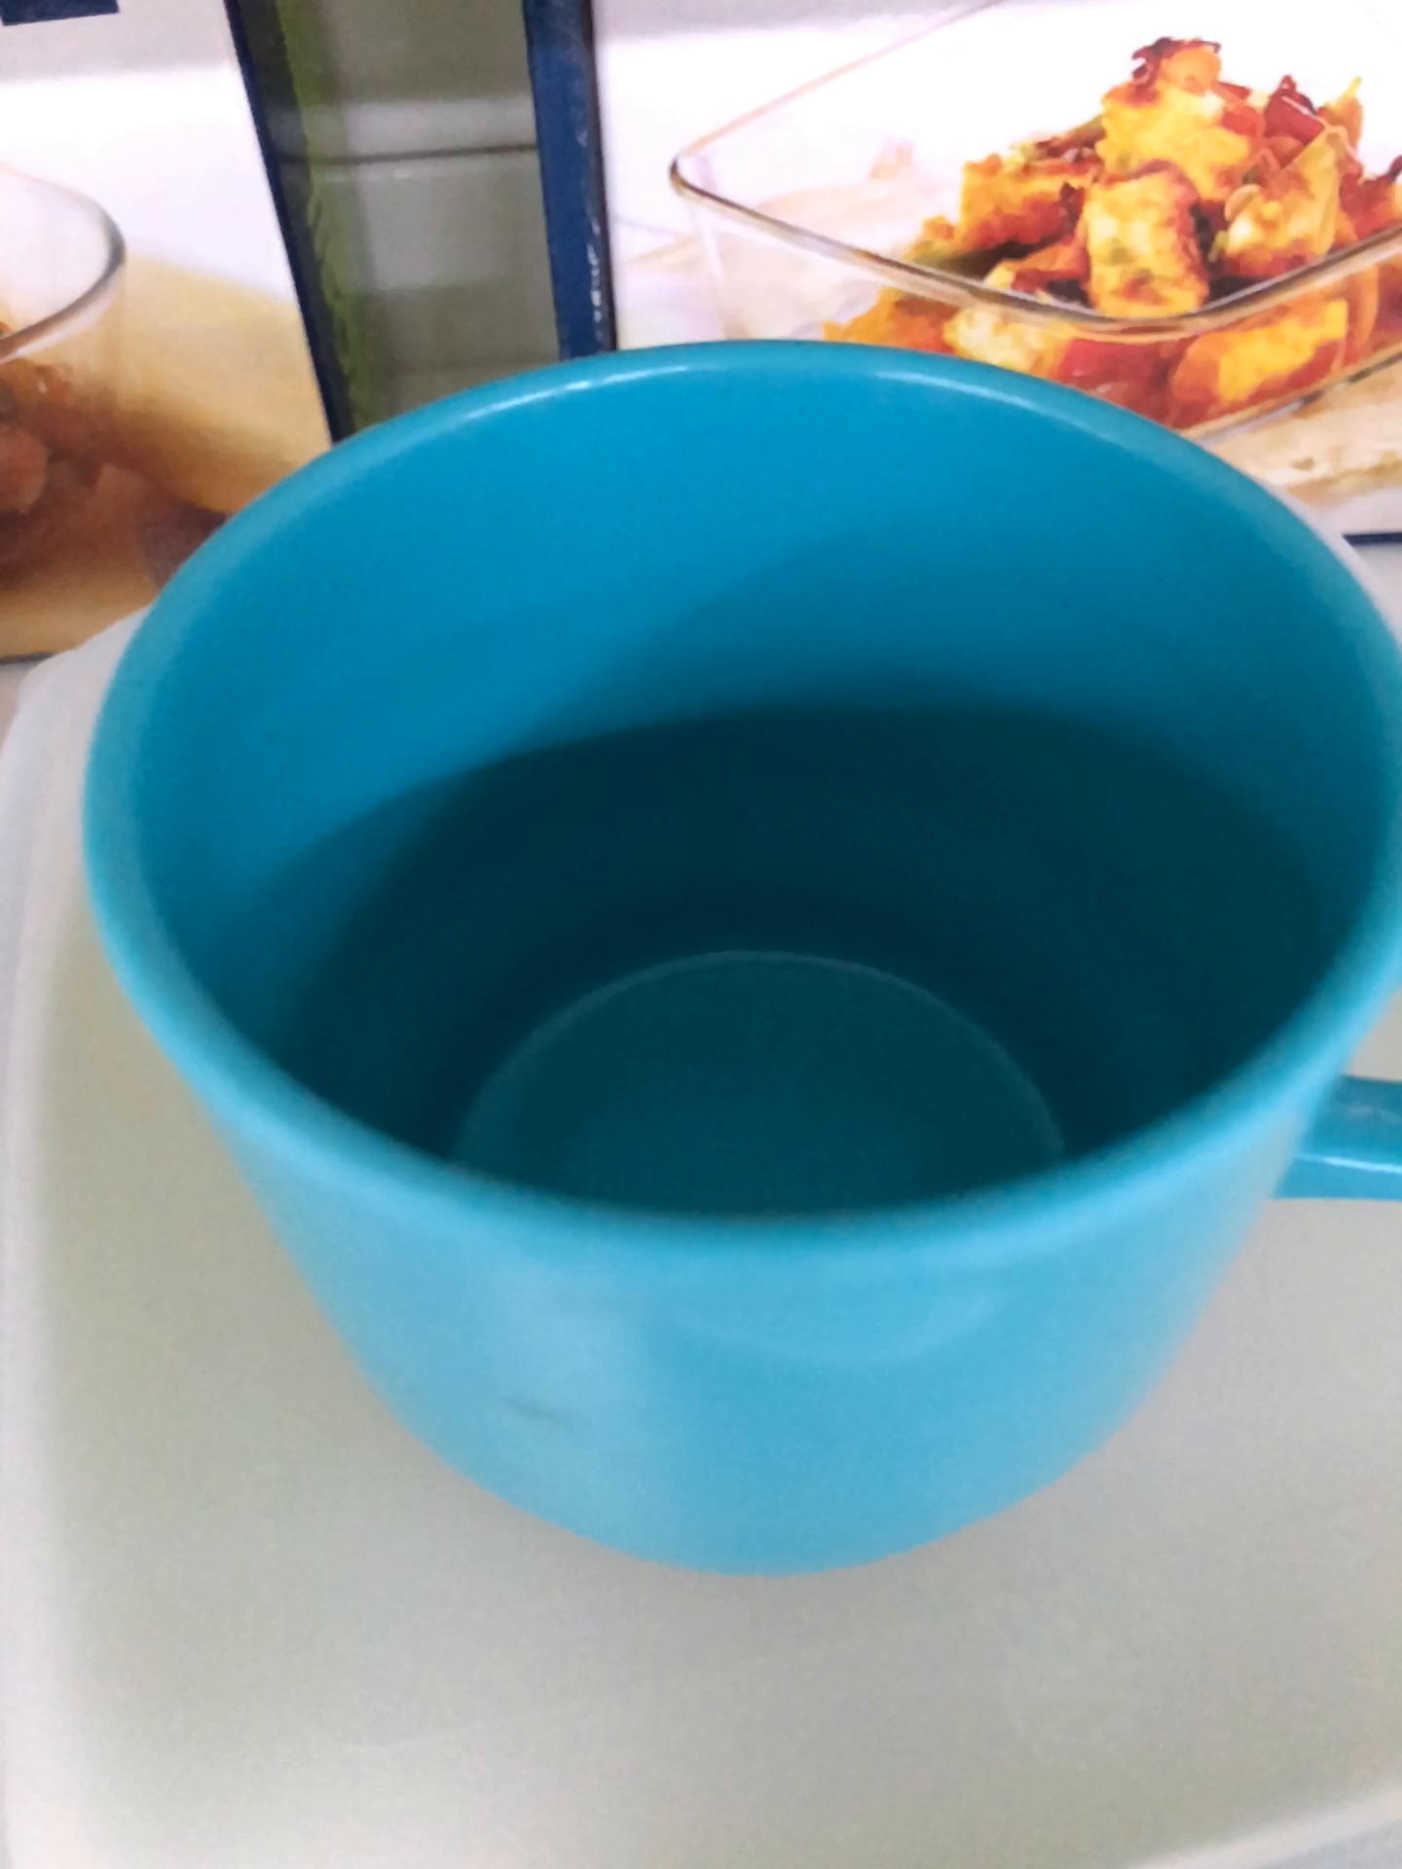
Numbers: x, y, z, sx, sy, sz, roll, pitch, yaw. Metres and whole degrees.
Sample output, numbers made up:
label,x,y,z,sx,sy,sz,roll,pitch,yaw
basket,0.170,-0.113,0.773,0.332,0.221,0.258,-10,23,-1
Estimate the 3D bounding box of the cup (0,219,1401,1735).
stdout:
label,x,y,z,sx,sy,sz,roll,pitch,yaw
cup,0.021,0.002,0.123,0.120,0.070,0.090,-2,49,1
